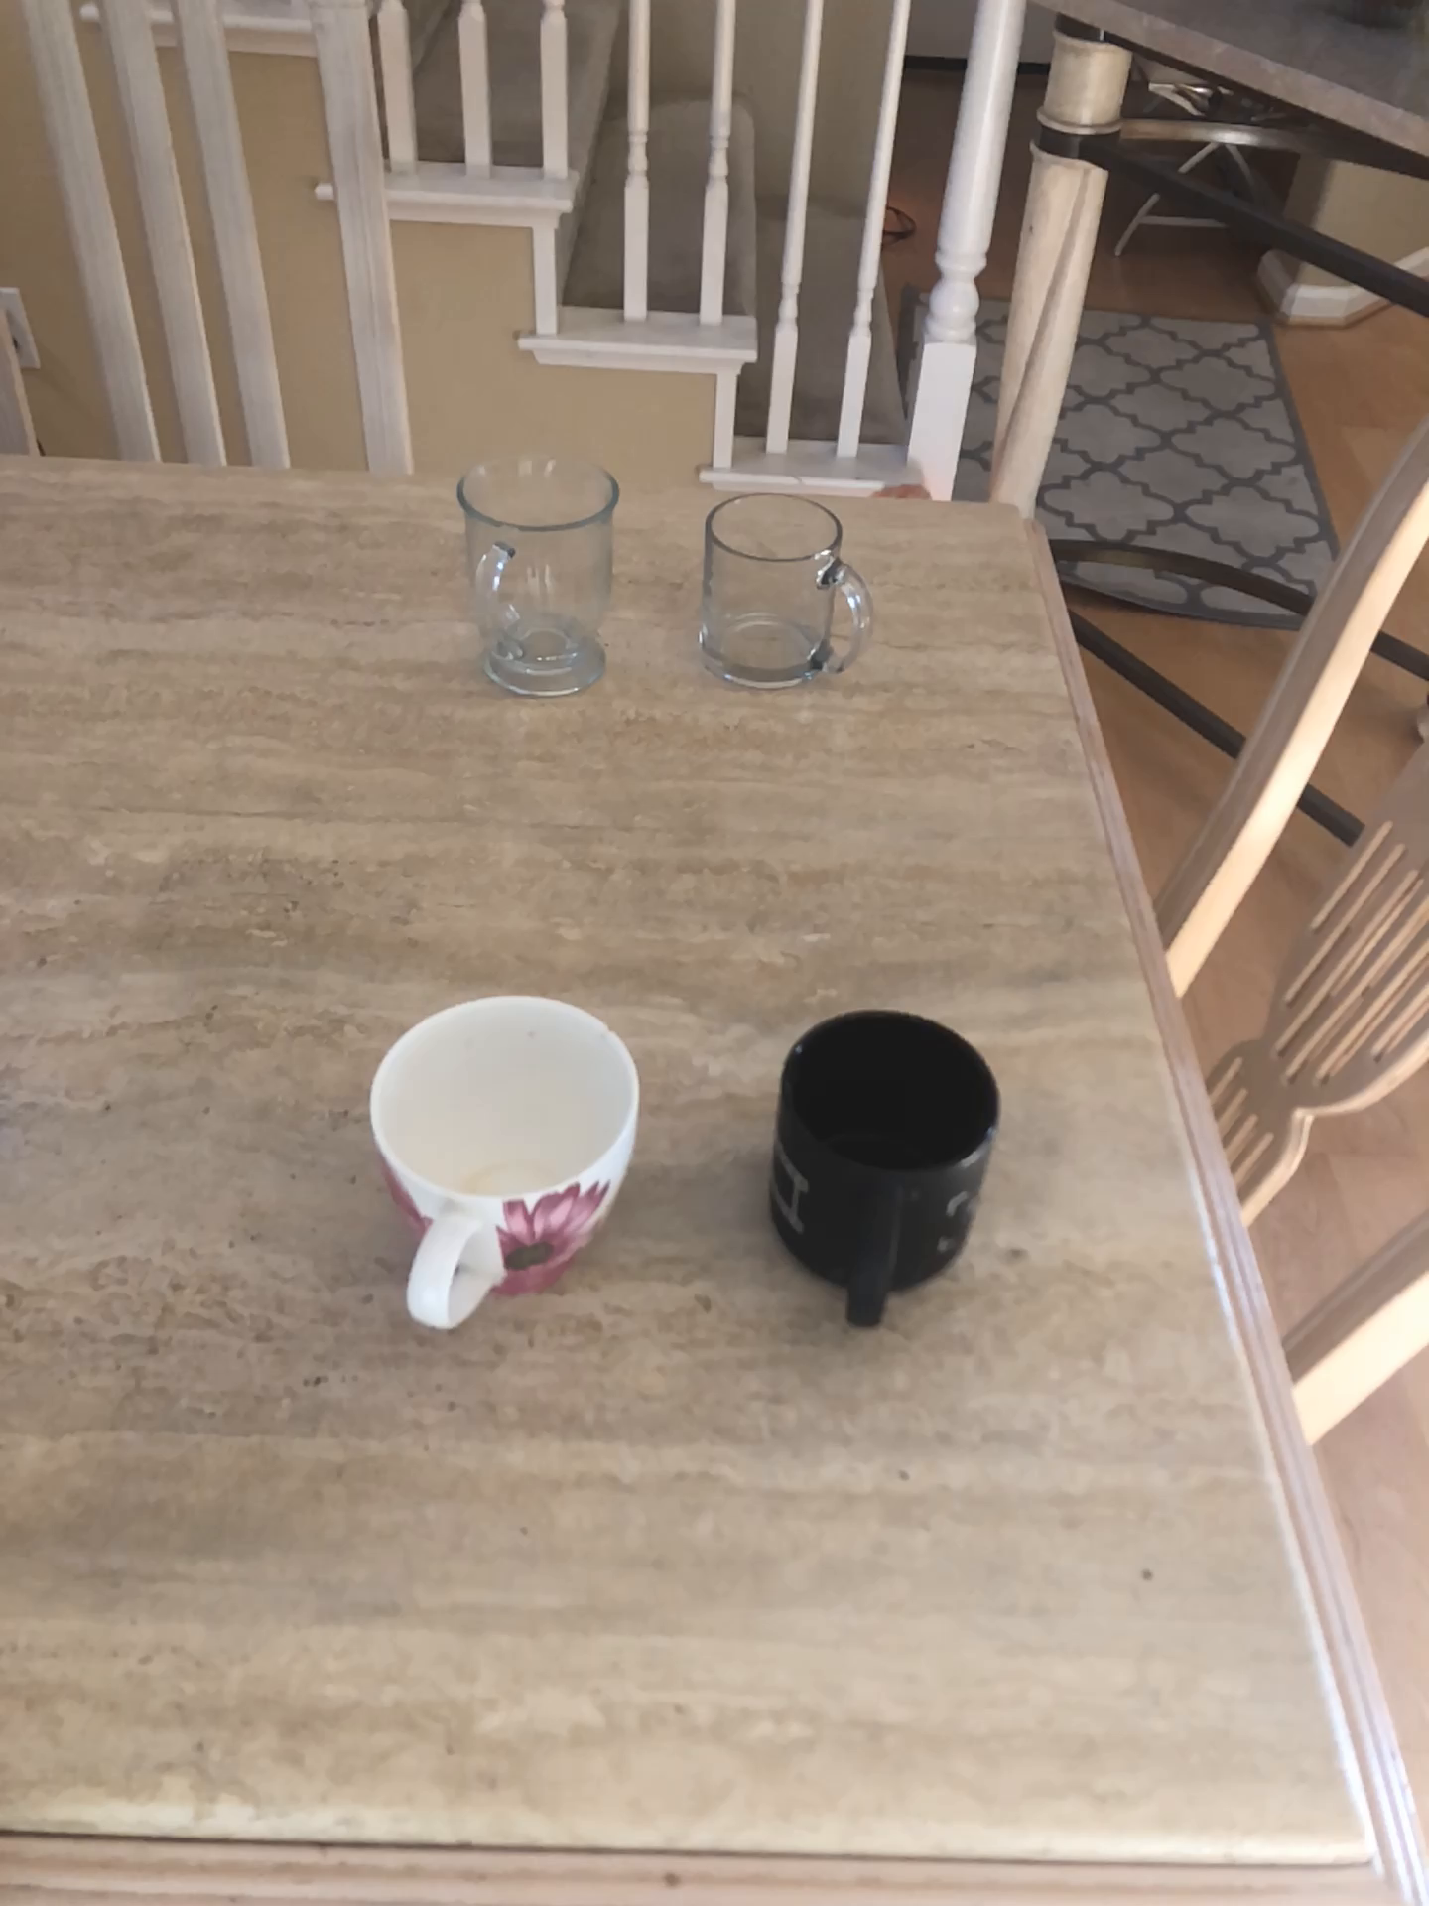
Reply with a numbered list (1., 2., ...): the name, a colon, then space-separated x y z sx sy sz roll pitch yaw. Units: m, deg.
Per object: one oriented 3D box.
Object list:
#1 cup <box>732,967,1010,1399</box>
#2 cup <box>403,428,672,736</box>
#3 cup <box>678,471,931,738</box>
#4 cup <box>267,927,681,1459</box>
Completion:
1. cup: 0.068 0.098 0.679 0.090 0.109 0.131 11 44 7
2. cup: -0.105 -0.233 0.975 0.110 0.109 0.151 15 45 11
3. cup: 0.056 -0.229 1.023 0.130 0.109 0.091 22 47 18
4. cup: -0.089 0.092 0.640 0.100 0.099 0.172 13 45 10
